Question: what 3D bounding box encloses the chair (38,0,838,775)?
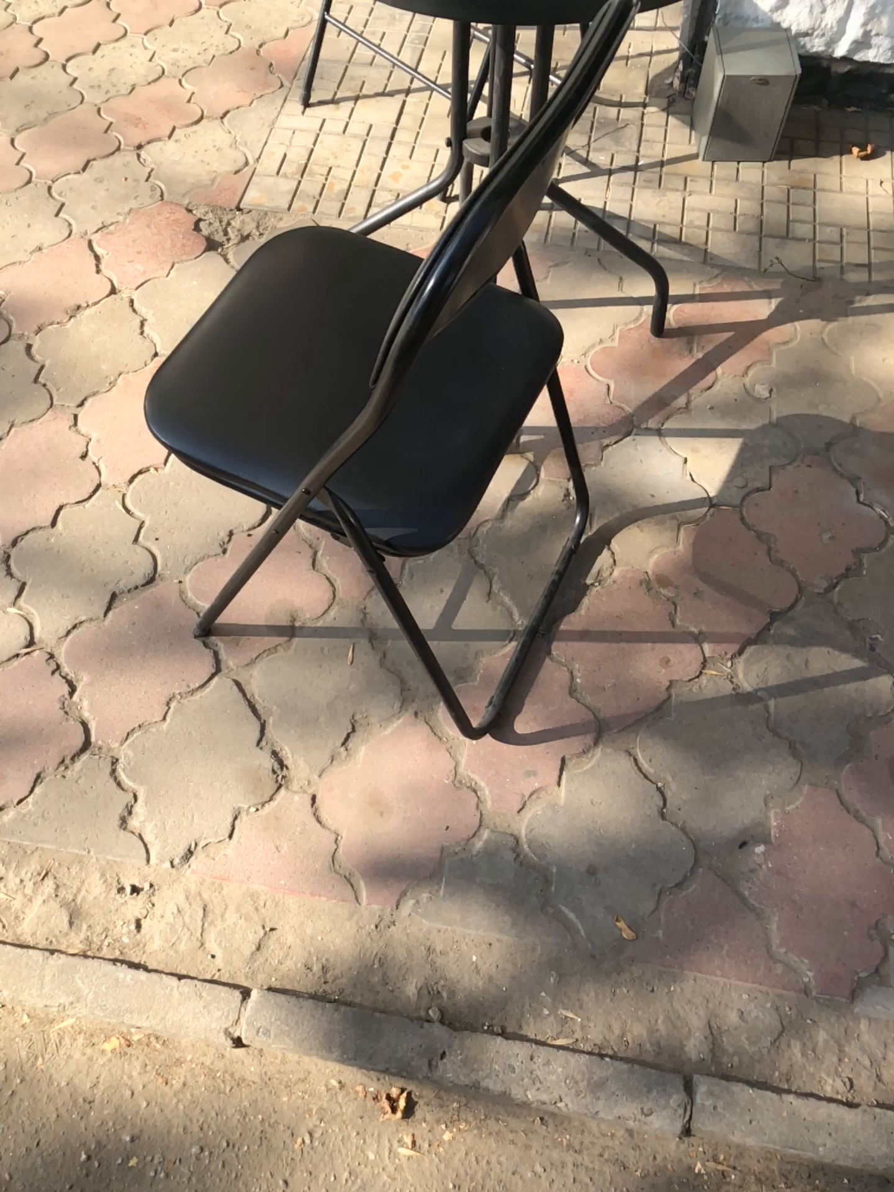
[{"bbox_3d":[0.012,-0.310,1.273,0.570,0.838,0.582,22,55,13],"label":"chair"}]
